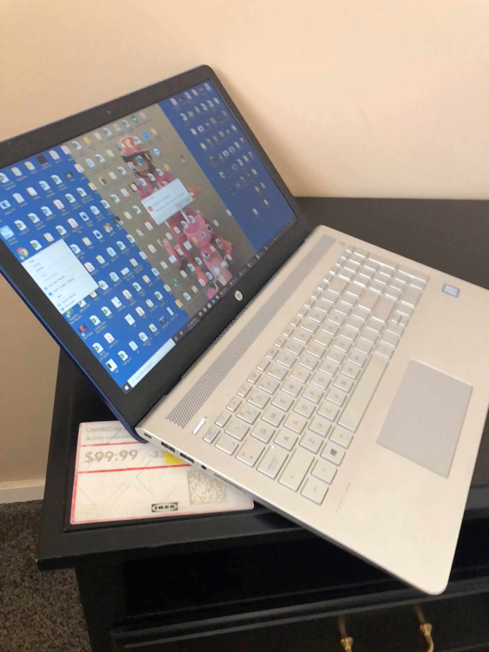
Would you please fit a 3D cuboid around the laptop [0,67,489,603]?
[{"bbox_3d":[0.044,-0.060,0.477,0.401,0.141,0.367,25,44,16],"label":"laptop"}]
